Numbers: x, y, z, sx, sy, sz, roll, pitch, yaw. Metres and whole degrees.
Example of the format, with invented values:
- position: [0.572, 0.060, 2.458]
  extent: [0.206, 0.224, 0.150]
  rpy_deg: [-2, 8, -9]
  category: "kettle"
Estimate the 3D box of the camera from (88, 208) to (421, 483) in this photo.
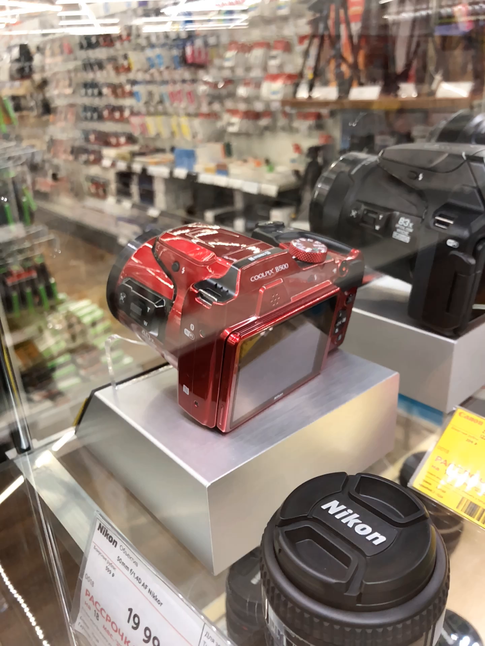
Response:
- position: [0.006, -0.003, 0.281]
  extent: [0.120, 0.076, 0.110]
  rpy_deg: [-21, 29, -34]
  category: "camera"
